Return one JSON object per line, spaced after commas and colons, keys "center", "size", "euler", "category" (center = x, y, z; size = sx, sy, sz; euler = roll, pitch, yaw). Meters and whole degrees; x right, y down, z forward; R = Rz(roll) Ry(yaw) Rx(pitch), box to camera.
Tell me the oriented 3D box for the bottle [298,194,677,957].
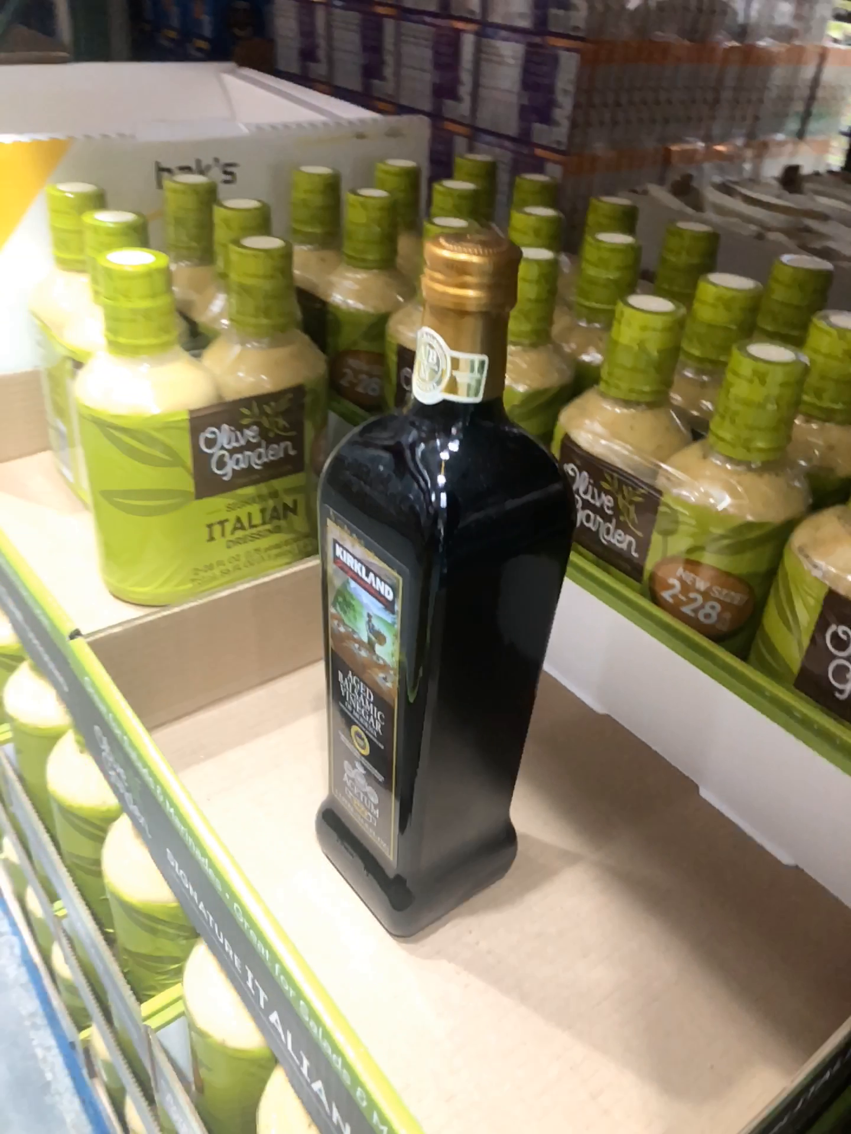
{"center": [0.009, 0.016, 0.397], "size": [0.090, 0.305, 0.090], "euler": [4, 33, -2], "category": "bottle"}
